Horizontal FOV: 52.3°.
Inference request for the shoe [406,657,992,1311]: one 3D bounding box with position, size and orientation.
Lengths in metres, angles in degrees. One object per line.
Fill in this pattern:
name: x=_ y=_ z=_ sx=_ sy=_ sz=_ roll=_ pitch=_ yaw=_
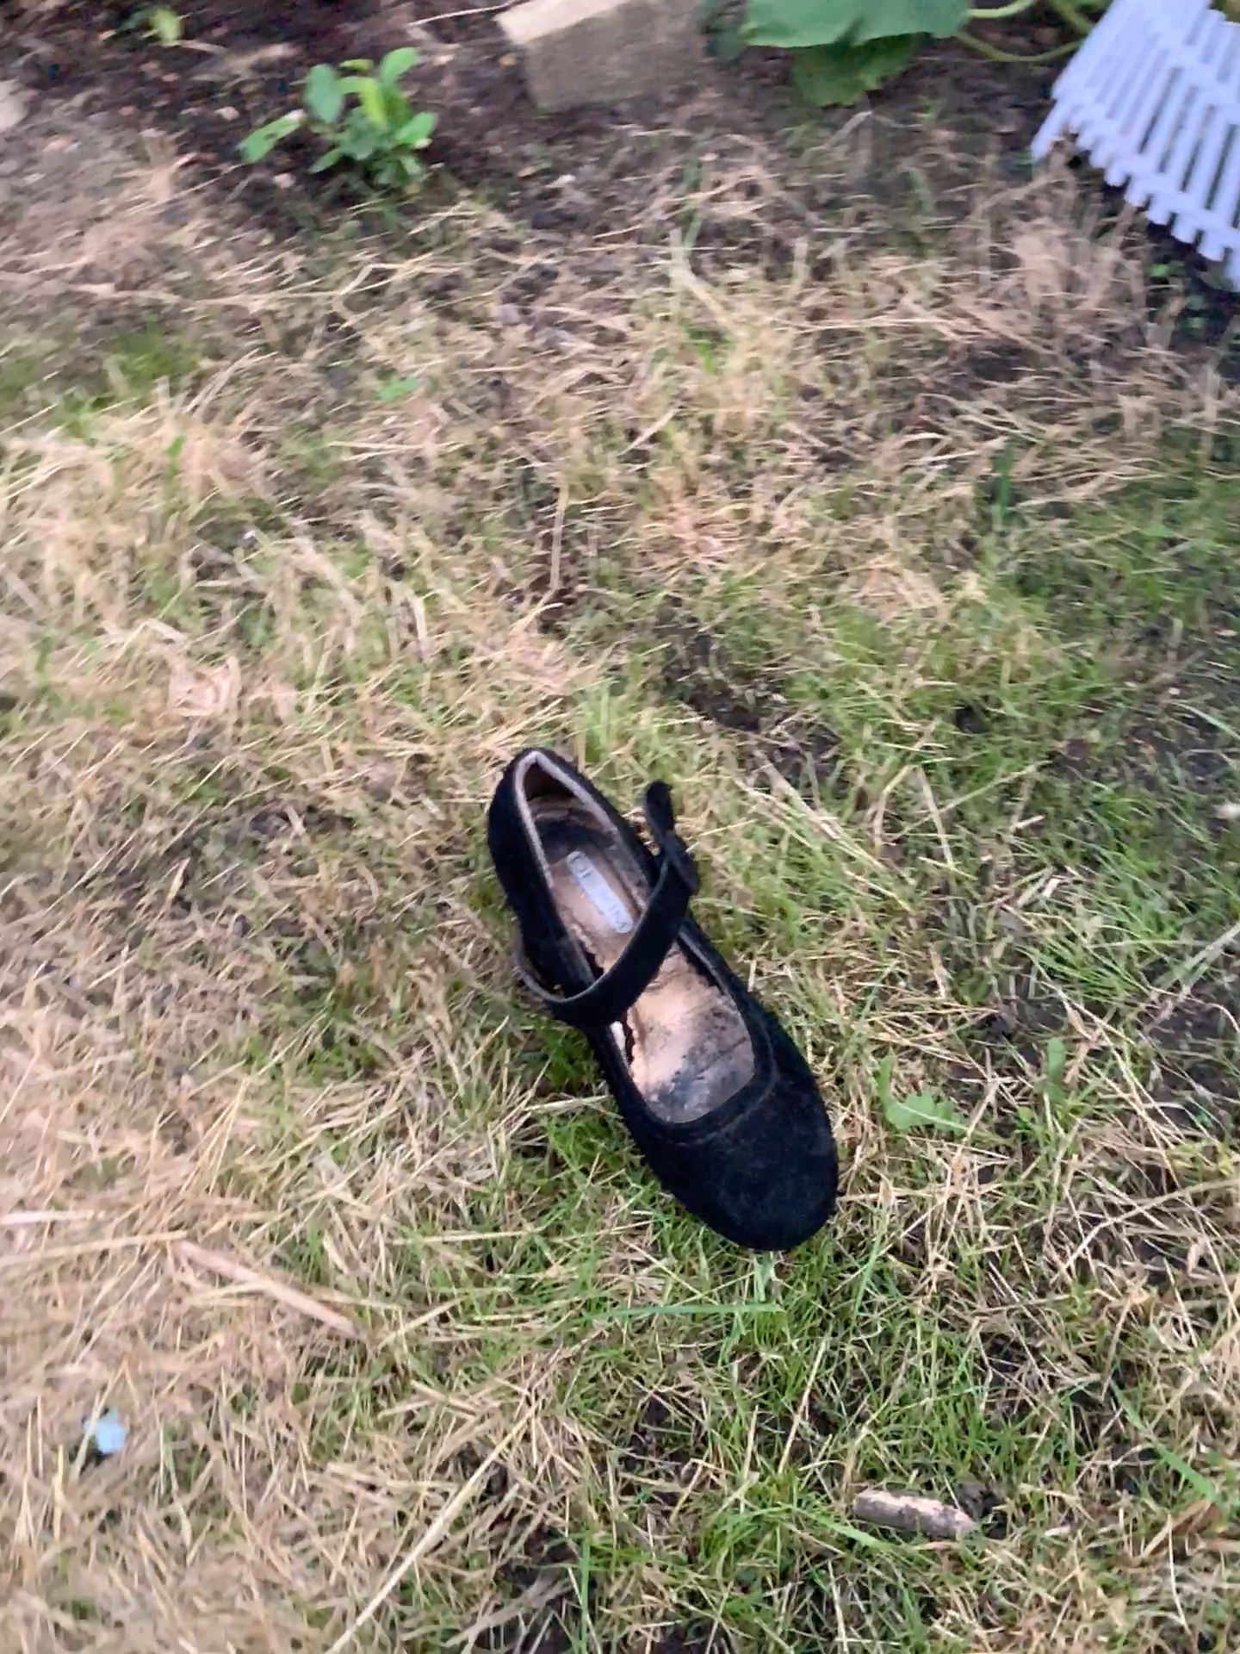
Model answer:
shoe: x=0.023 y=0.059 z=0.559 sx=0.110 sy=0.109 sz=0.252 roll=-30 pitch=57 yaw=-19
